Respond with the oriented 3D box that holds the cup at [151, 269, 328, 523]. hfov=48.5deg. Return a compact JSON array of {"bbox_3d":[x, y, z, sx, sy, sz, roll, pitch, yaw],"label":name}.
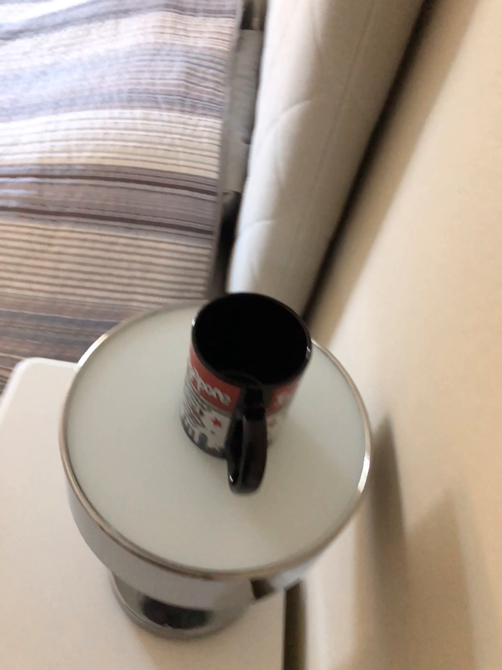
[{"bbox_3d":[-0.019,0.040,0.371,0.090,0.100,0.131,2,50,-12],"label":"cup"}]
